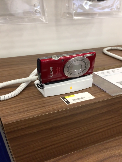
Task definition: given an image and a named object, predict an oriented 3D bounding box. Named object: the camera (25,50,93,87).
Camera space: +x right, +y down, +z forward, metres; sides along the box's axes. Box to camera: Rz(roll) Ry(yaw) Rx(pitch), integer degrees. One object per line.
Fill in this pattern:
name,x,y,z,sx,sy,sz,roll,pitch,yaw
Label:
camera,-0.001,-0.024,0.284,0.108,0.045,0.026,-12,36,-18
